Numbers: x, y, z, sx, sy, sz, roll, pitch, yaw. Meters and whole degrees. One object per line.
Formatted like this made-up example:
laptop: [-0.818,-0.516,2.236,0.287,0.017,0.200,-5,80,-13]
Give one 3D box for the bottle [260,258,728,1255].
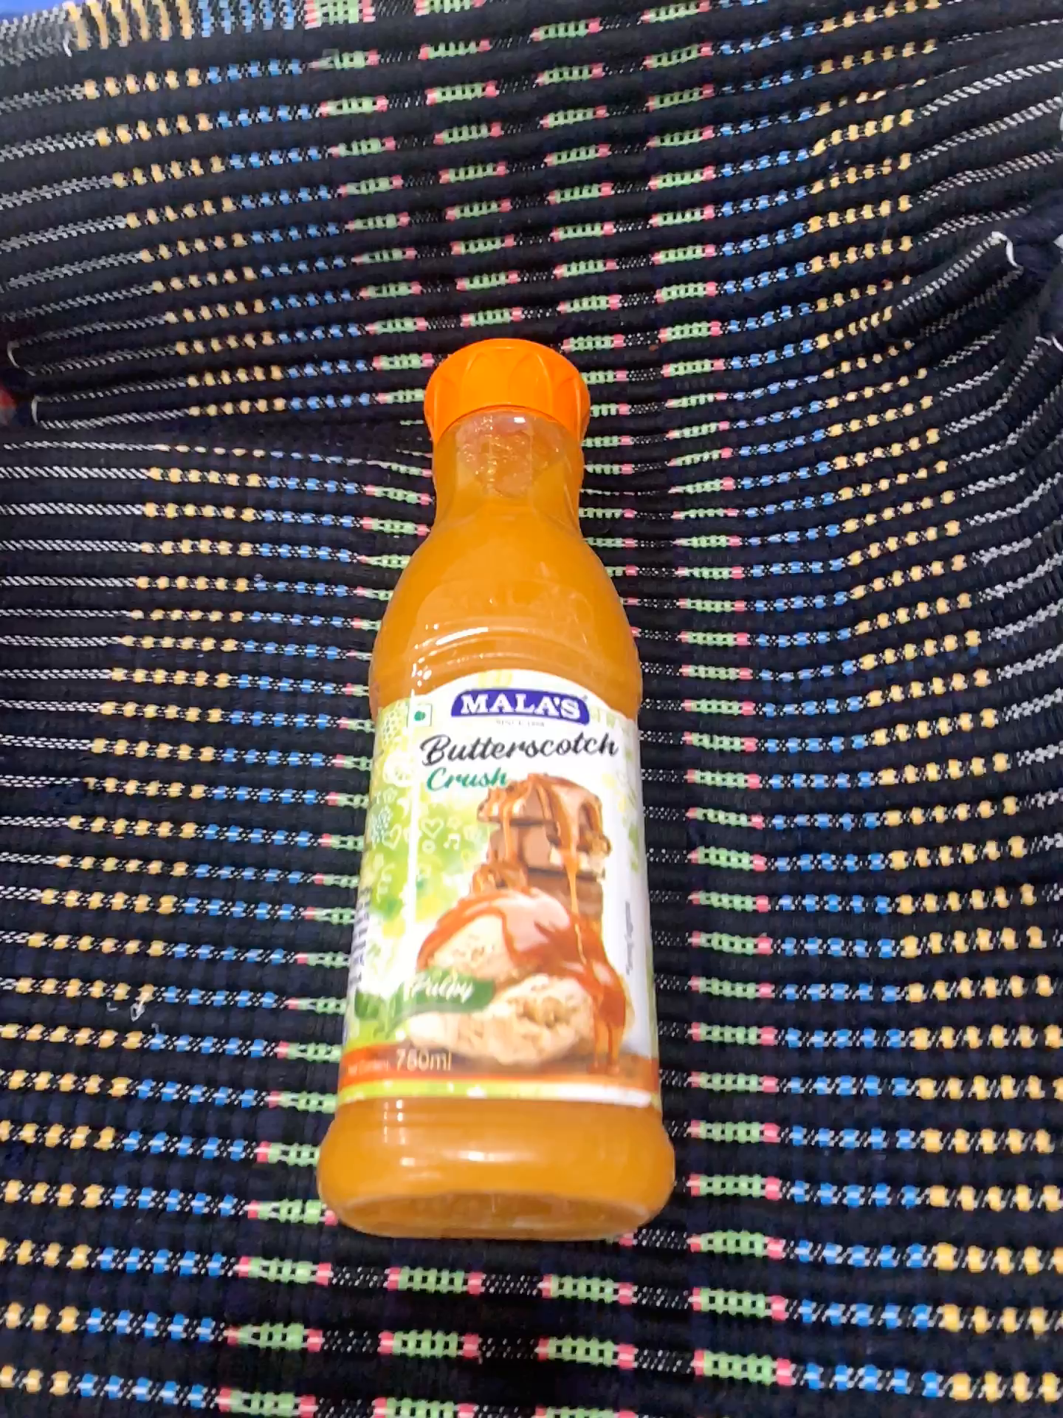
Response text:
bottle: [-0.005,-0.013,0.265,0.070,0.060,0.251,2,52,-1]
